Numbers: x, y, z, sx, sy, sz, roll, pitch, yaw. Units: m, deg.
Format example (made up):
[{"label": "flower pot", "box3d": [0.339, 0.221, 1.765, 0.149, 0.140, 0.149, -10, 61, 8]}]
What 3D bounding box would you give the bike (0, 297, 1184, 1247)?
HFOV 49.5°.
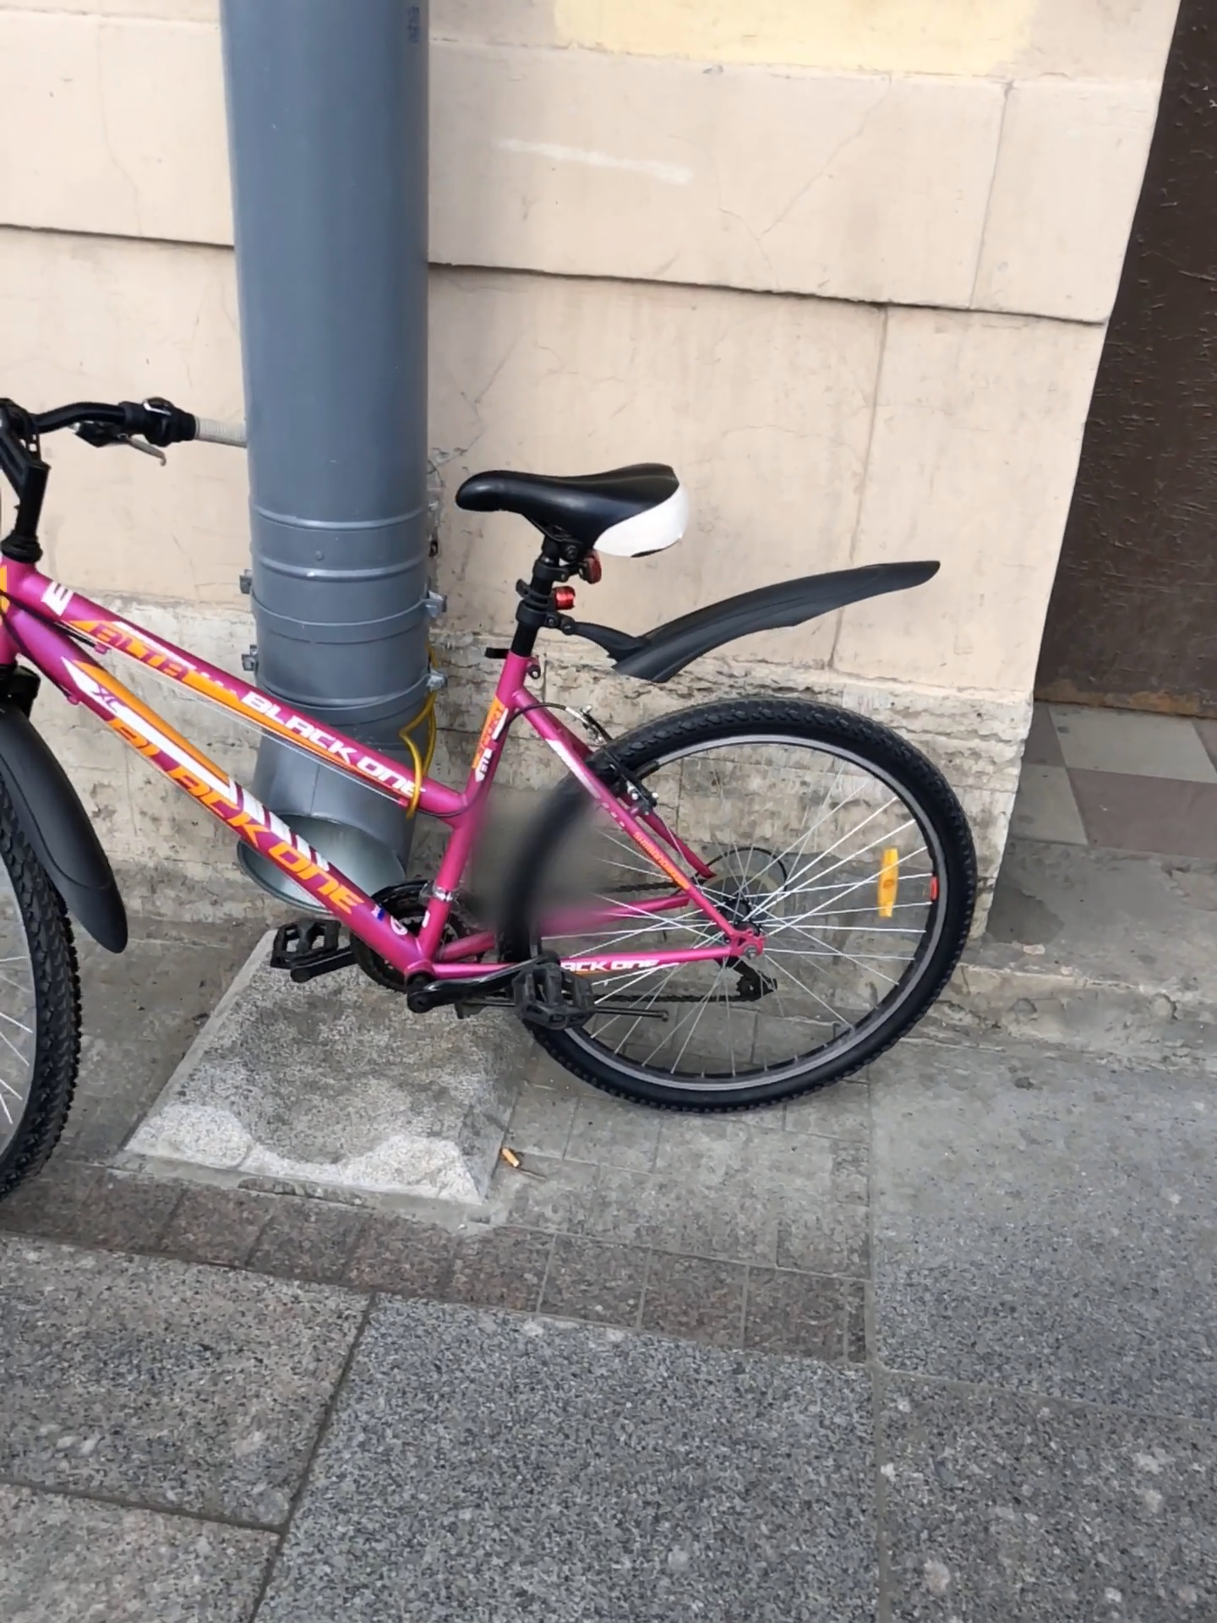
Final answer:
[{"label": "bike", "box3d": [-0.343, -0.069, 1.670, 1.574, 0.974, 0.626, 2, 29, 0]}]
